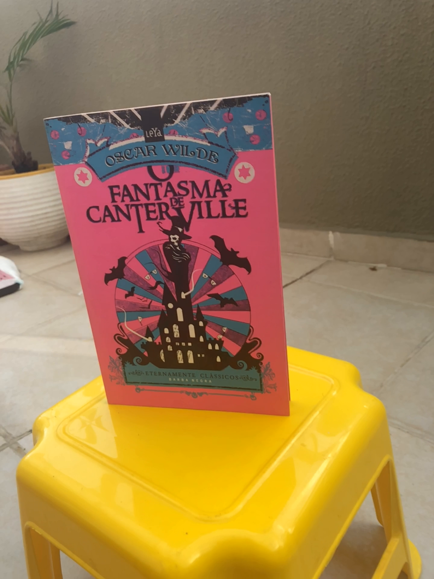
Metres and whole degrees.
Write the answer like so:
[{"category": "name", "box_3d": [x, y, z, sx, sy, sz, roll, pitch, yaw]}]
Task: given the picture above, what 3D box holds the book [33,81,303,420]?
[{"category": "book", "box_3d": [-0.025, -0.012, 0.326, 0.150, 0.219, 0.020, -1, 23, 17]}]
